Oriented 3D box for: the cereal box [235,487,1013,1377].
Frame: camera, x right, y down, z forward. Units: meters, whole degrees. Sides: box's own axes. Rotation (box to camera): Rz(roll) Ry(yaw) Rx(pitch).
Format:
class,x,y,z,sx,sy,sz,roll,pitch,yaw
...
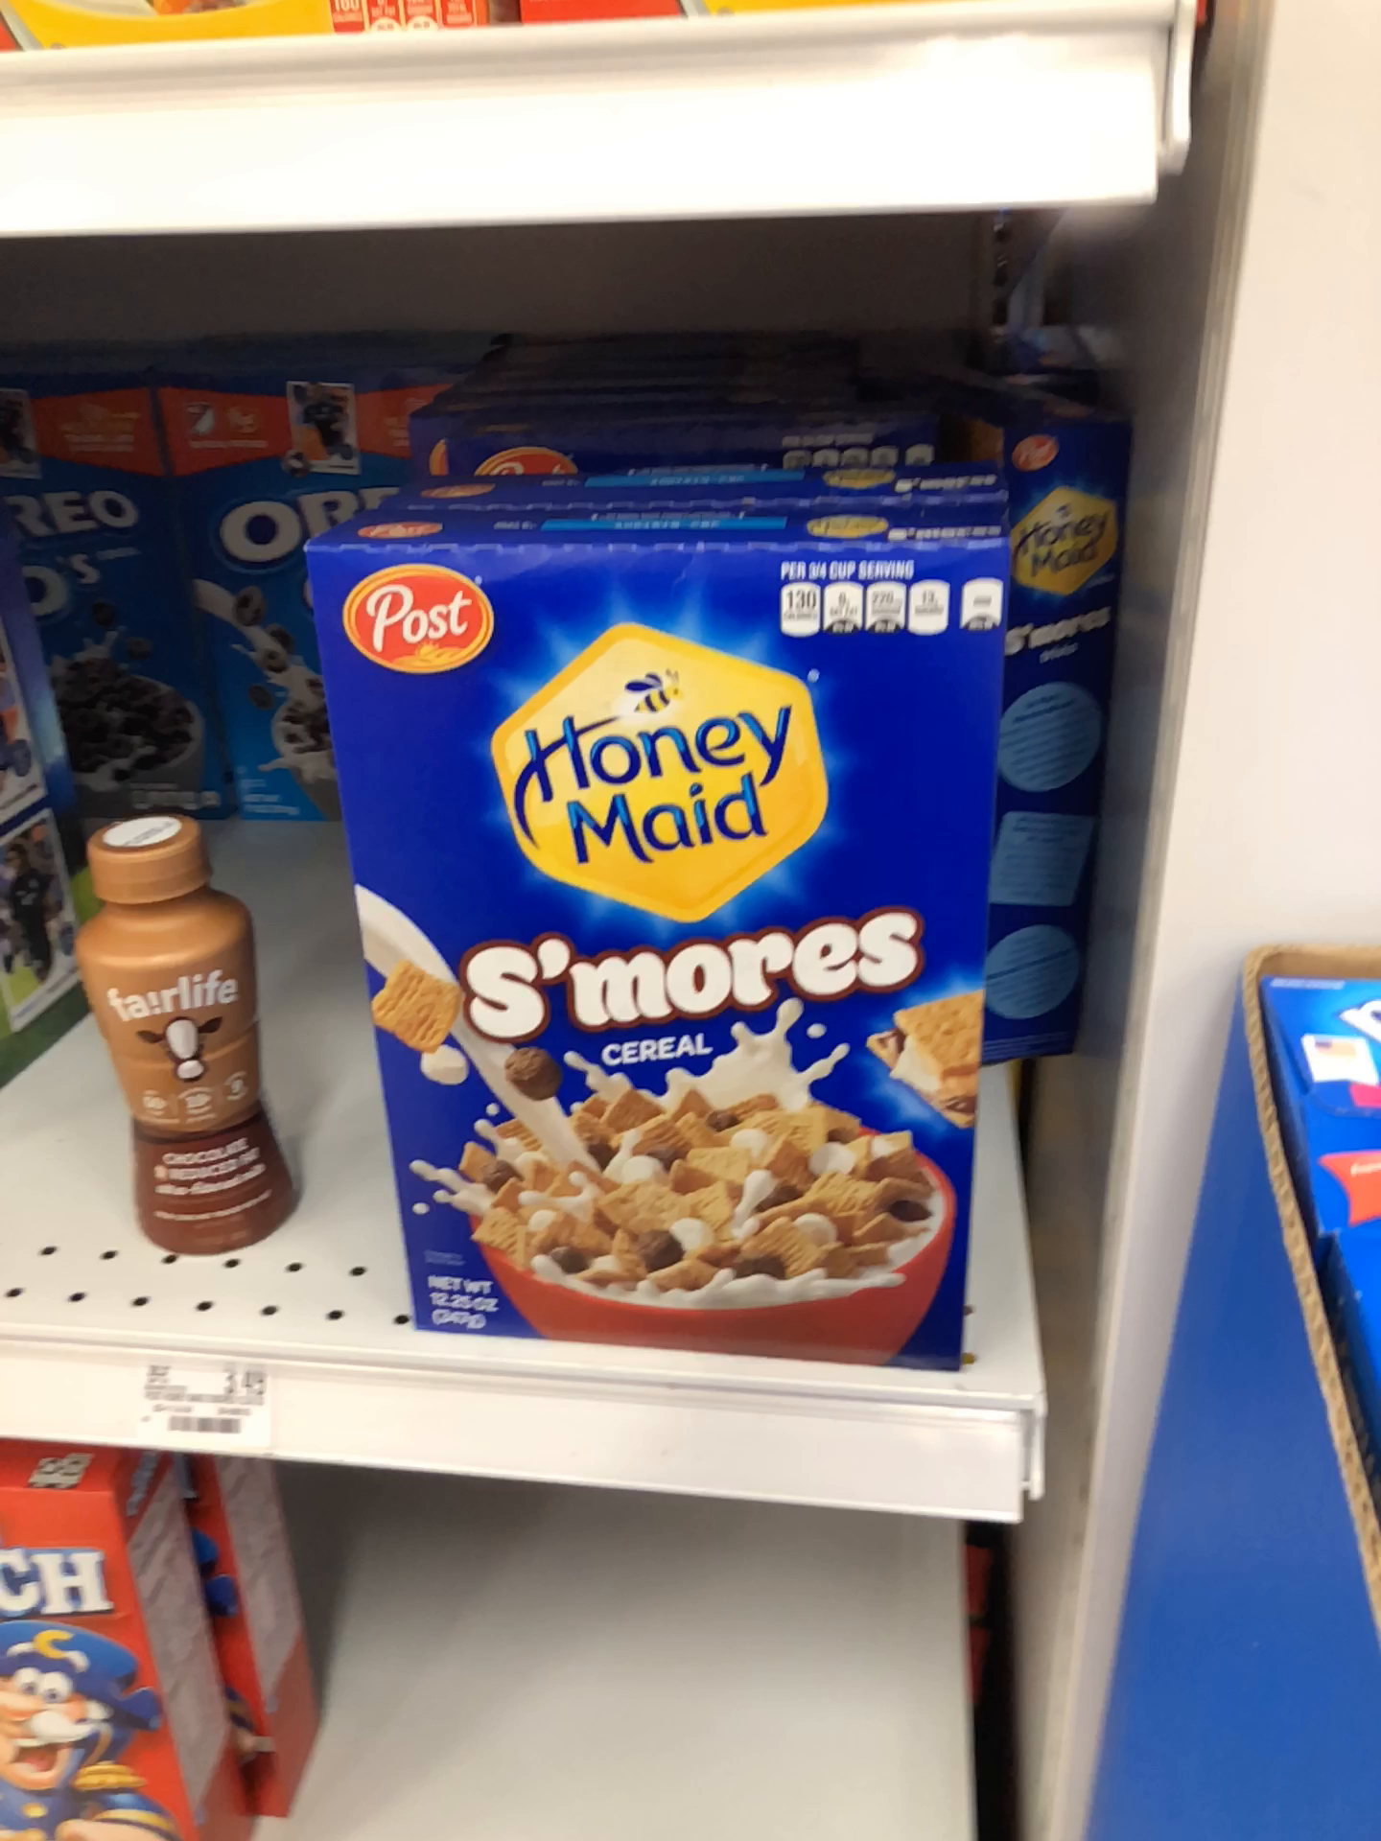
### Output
class,x,y,z,sx,sy,sz,roll,pitch,yaw
cereal box,-0.011,0.009,0.477,0.200,0.269,0.070,2,28,9
